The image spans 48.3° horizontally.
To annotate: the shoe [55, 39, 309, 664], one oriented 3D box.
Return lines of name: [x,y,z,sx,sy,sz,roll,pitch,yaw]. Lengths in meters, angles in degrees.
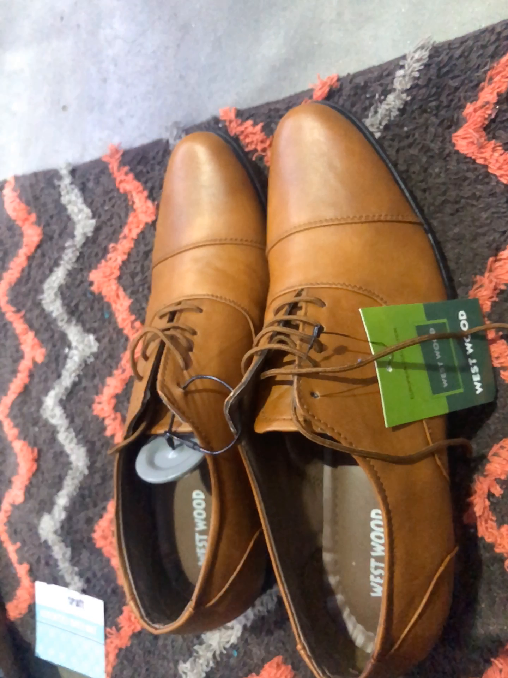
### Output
shoe: [-0.046,0.005,0.337,0.110,0.070,0.310,-8,83,30]

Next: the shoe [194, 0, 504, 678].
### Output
shoe: [0.047,0.006,0.295,0.110,0.080,0.300,-8,83,30]
